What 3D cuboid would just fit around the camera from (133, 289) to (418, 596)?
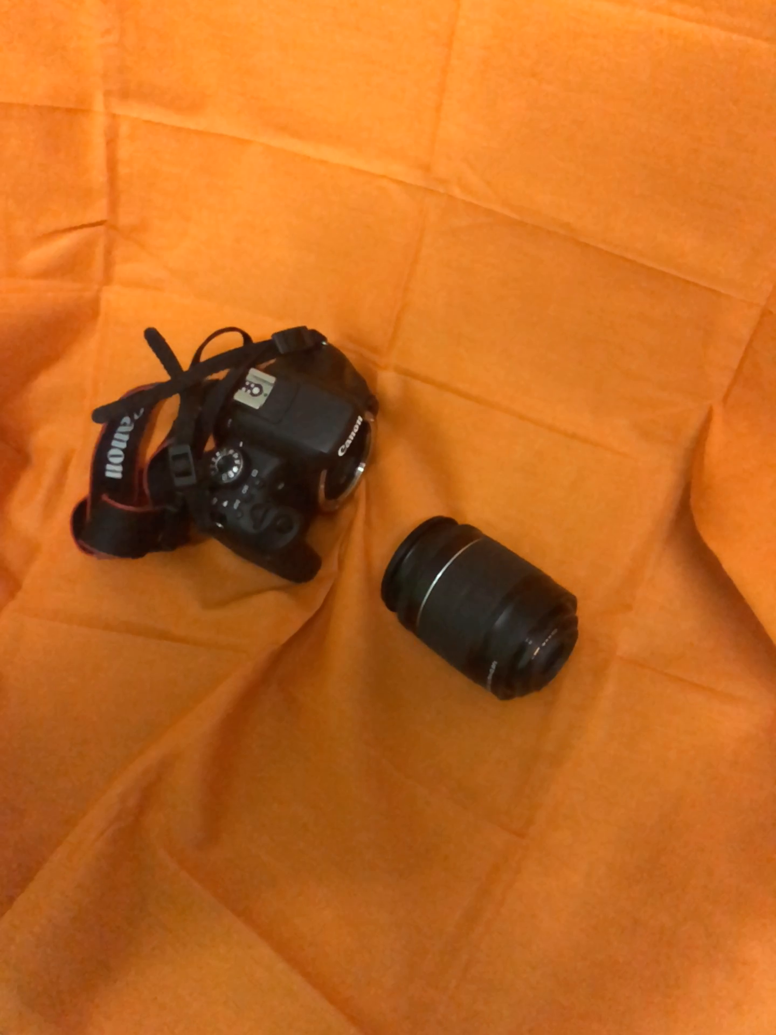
[{"bbox_3d":[-0.058,-0.042,0.491,0.092,0.071,0.134,25,75,17],"label":"camera"}]
